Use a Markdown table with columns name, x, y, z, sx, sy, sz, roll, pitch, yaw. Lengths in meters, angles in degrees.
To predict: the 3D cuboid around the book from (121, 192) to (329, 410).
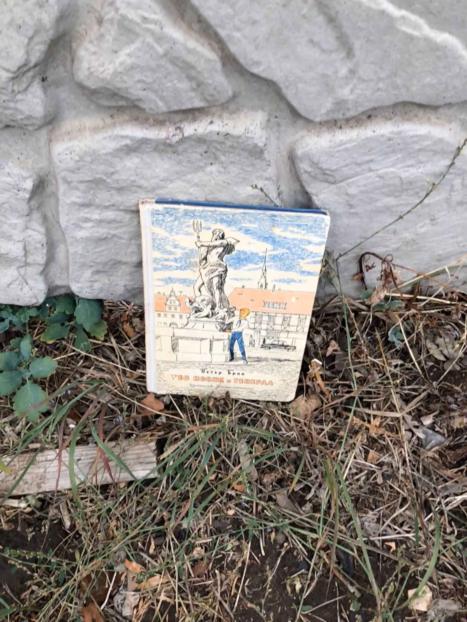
| name | x | y | z | sx | sy | sz | roll | pitch | yaw |
| --- | --- | --- | --- | --- | --- | --- | --- | --- | --- |
| book | -0.007 | 0.001 | 0.438 | 0.150 | 0.200 | 0.020 | 5 | 38 | 6 |
